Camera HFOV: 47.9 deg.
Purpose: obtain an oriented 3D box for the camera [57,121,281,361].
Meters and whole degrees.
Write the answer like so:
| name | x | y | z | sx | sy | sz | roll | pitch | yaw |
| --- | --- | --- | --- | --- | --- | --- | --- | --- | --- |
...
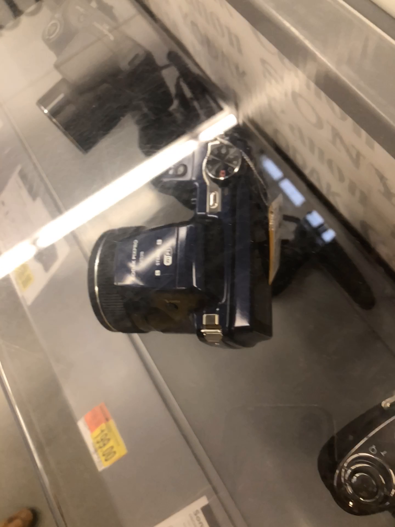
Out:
| name | x | y | z | sx | sy | sz | roll | pitch | yaw |
| --- | --- | --- | --- | --- | --- | --- | --- | --- | --- |
| camera | -0.008 | -0.005 | 0.282 | 0.110 | 0.090 | 0.120 | -3 | 70 | 14 |
